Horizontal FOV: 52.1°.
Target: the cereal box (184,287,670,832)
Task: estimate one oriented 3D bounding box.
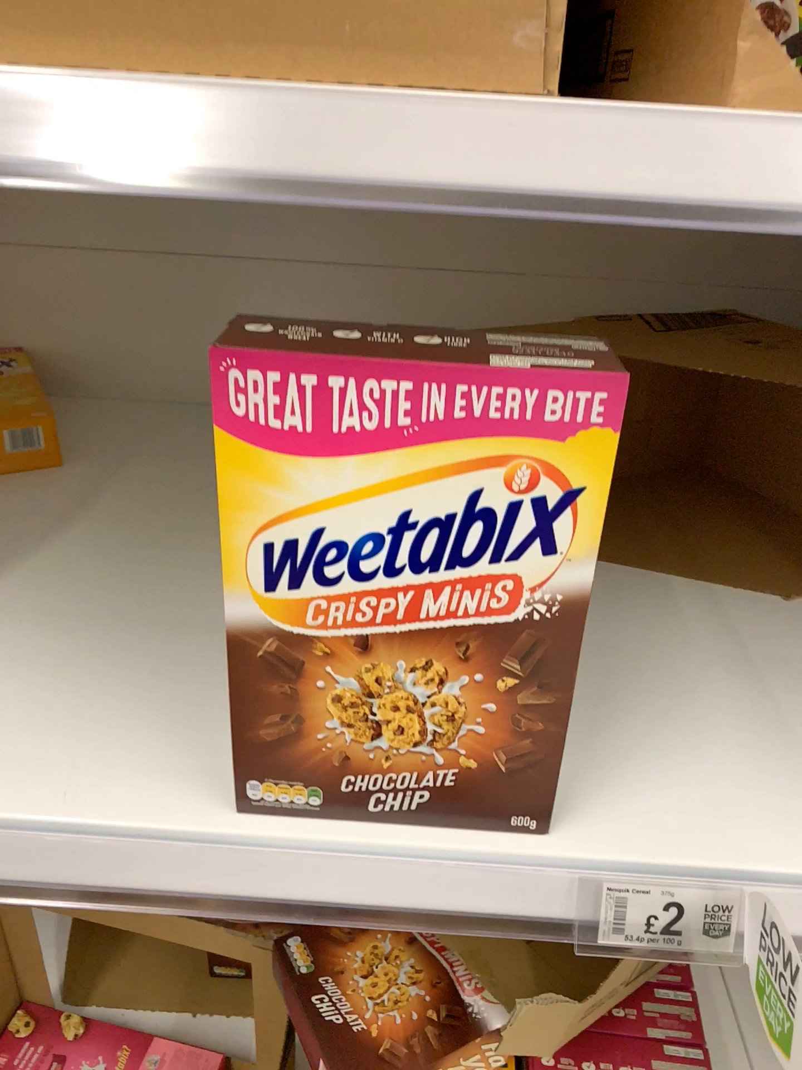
[{"bbox_3d":[0.005,0.025,0.452,0.210,0.288,0.071,4,28,1],"label":"cereal box"}]
